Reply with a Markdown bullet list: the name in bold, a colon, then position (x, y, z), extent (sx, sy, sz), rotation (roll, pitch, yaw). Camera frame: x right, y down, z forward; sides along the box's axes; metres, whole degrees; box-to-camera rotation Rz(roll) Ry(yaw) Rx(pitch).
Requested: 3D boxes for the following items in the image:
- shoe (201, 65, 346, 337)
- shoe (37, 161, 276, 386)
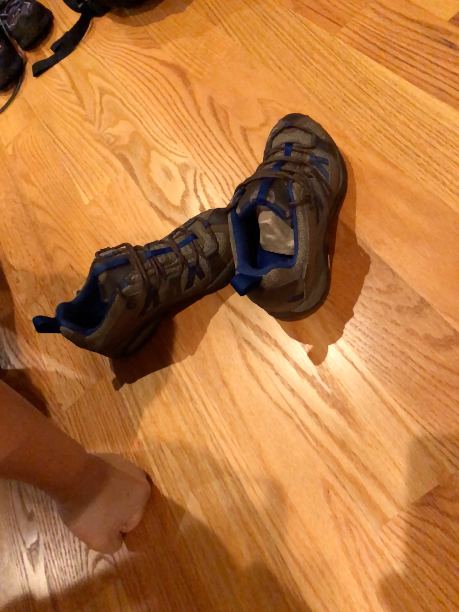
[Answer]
- **shoe**: position (0.054, -0.104, 0.521), extent (0.097, 0.094, 0.252), rotation (-4, 67, 28)
- **shoe**: position (-0.084, -0.030, 0.579), extent (0.240, 0.106, 0.095), rotation (-40, 55, 9)
